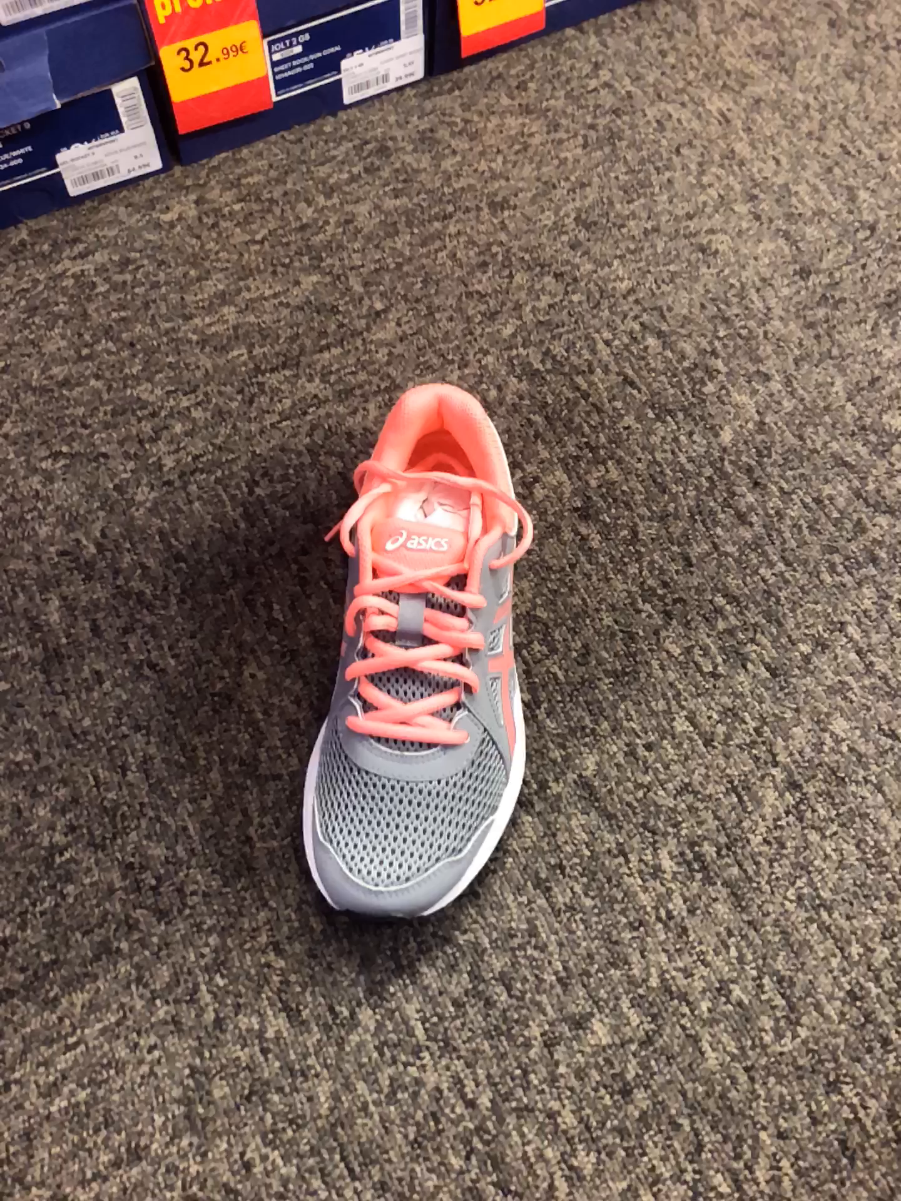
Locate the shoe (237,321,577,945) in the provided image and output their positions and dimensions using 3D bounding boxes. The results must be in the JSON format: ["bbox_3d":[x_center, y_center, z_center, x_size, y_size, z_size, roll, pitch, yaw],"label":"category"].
[{"bbox_3d":[-0.009,0.013,0.448,0.110,0.110,0.251,5,64,1],"label":"shoe"}]
